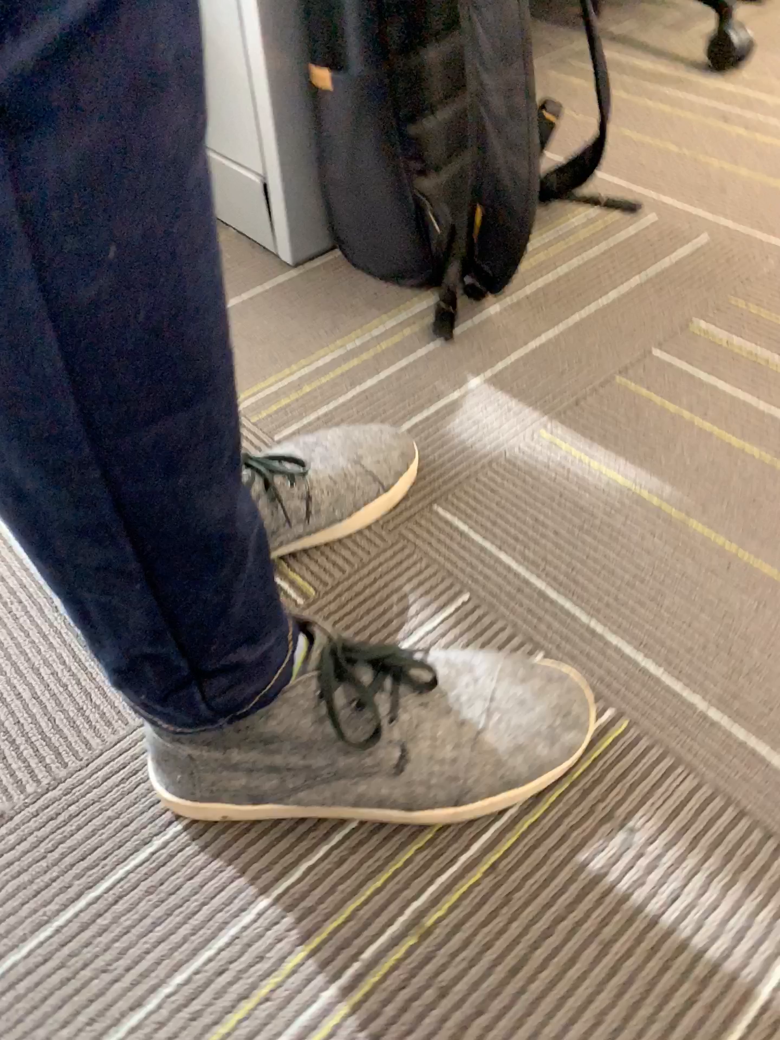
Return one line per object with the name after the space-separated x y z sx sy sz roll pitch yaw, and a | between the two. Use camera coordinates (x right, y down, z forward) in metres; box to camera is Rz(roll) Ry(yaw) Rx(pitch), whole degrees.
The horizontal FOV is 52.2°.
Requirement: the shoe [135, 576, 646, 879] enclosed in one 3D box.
-0.003 0.137 0.539 0.299 0.087 0.134 -8 47 -2 | shoe

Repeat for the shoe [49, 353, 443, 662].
-0.114 -0.023 0.695 0.301 0.087 0.134 -29 51 -21 | shoe
